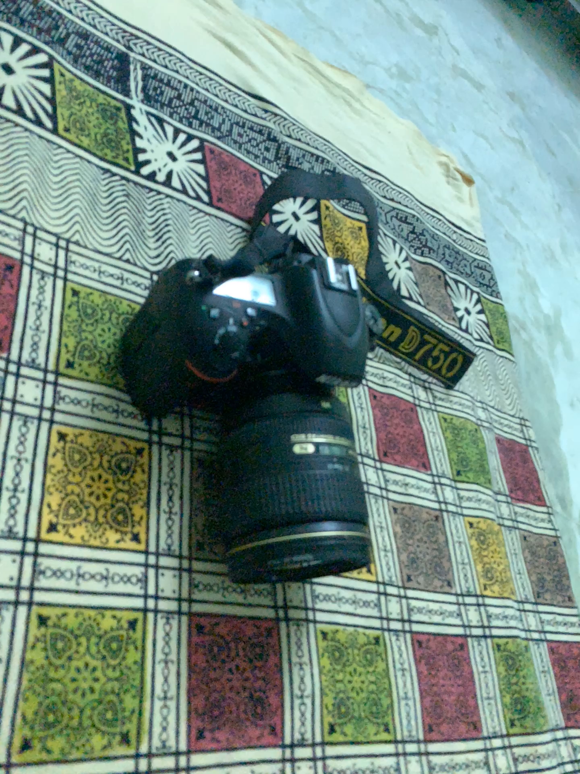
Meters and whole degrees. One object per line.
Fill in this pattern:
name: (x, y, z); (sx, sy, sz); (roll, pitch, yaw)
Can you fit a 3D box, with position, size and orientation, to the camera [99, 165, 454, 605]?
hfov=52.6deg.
camera: (-0.018, 0.007, 0.324); (0.141, 0.100, 0.190); (10, 59, -36)
